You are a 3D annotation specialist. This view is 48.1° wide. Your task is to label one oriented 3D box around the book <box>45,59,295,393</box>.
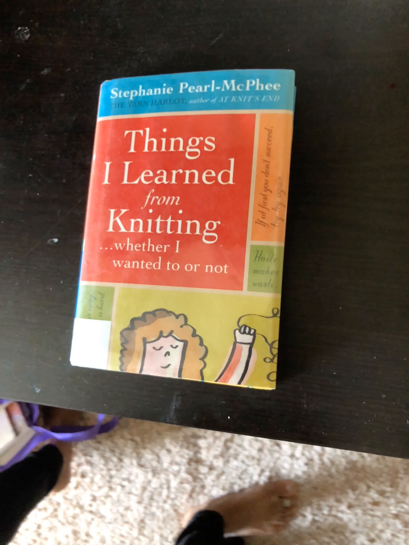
[{"bbox_3d":[-0.017,-0.028,0.248,0.118,0.023,0.166,4,84,13],"label":"book"}]
